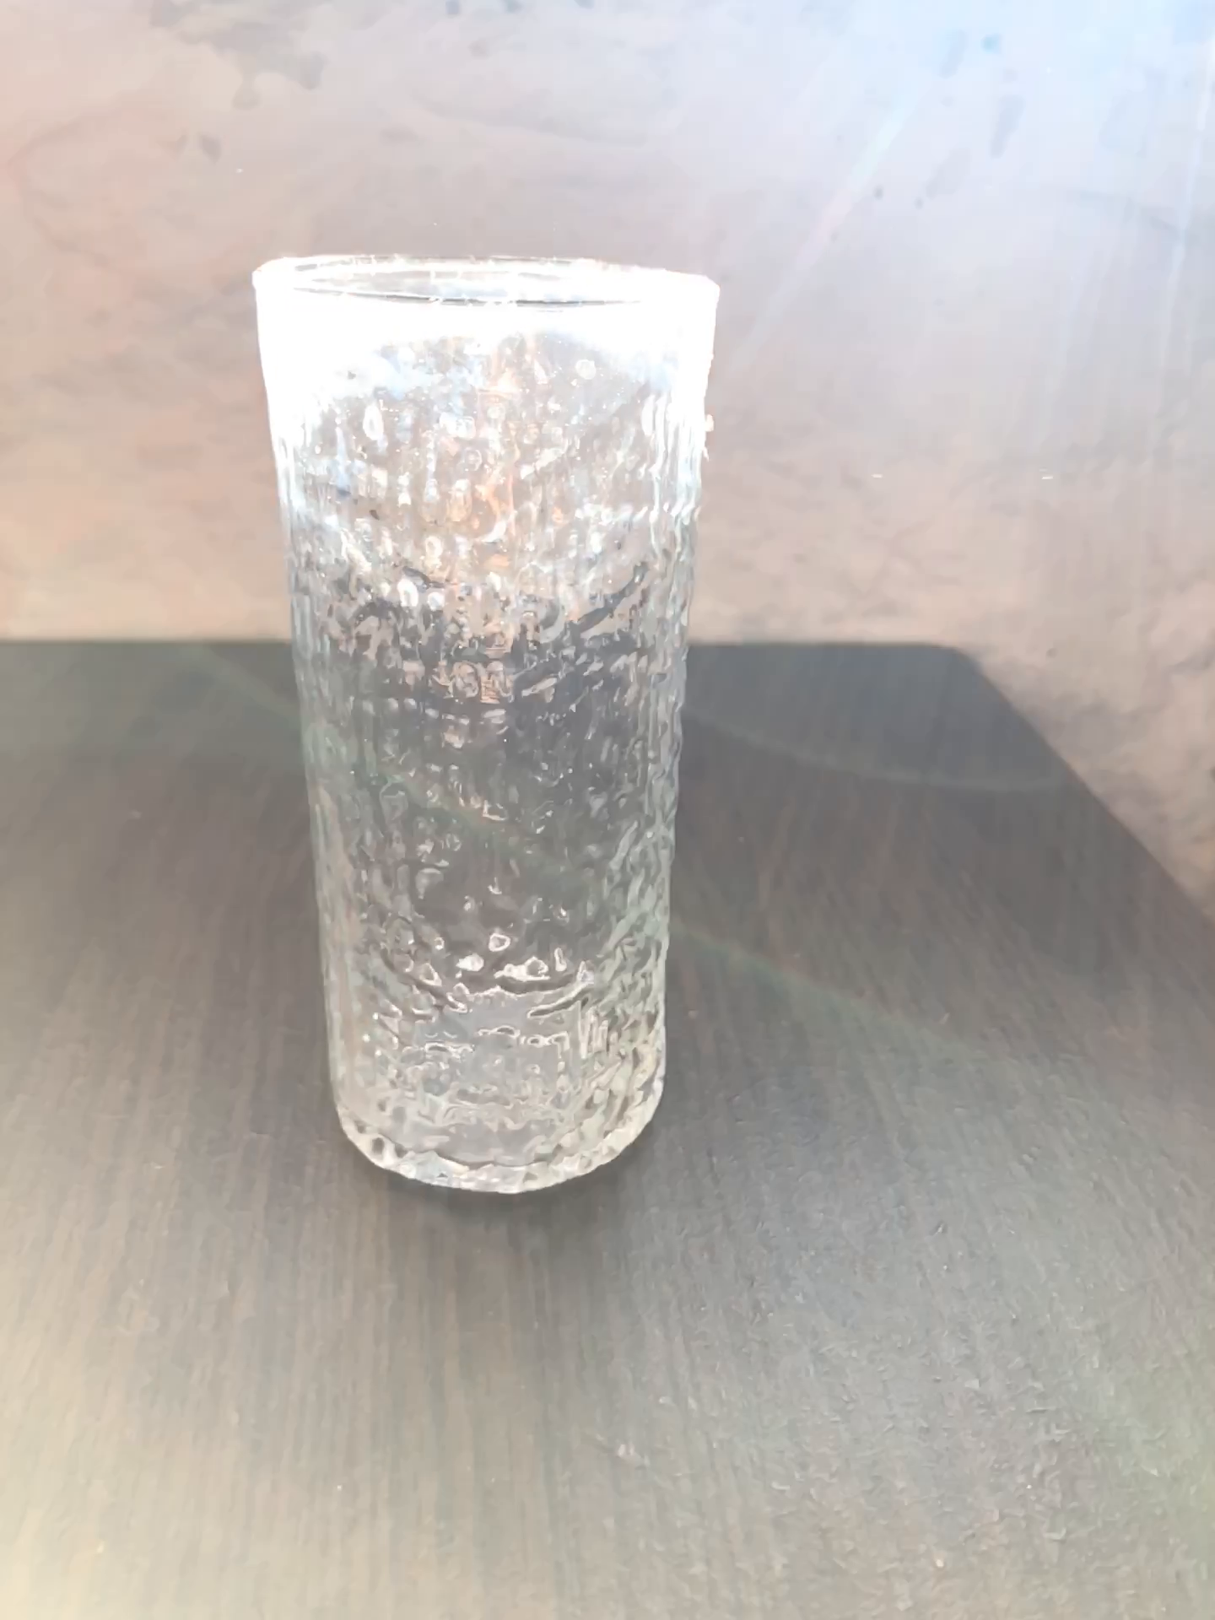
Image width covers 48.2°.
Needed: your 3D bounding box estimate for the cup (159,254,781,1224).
[{"bbox_3d":[-0.016,-0.013,0.210,0.070,0.130,0.068,2,24,-1],"label":"cup"}]
